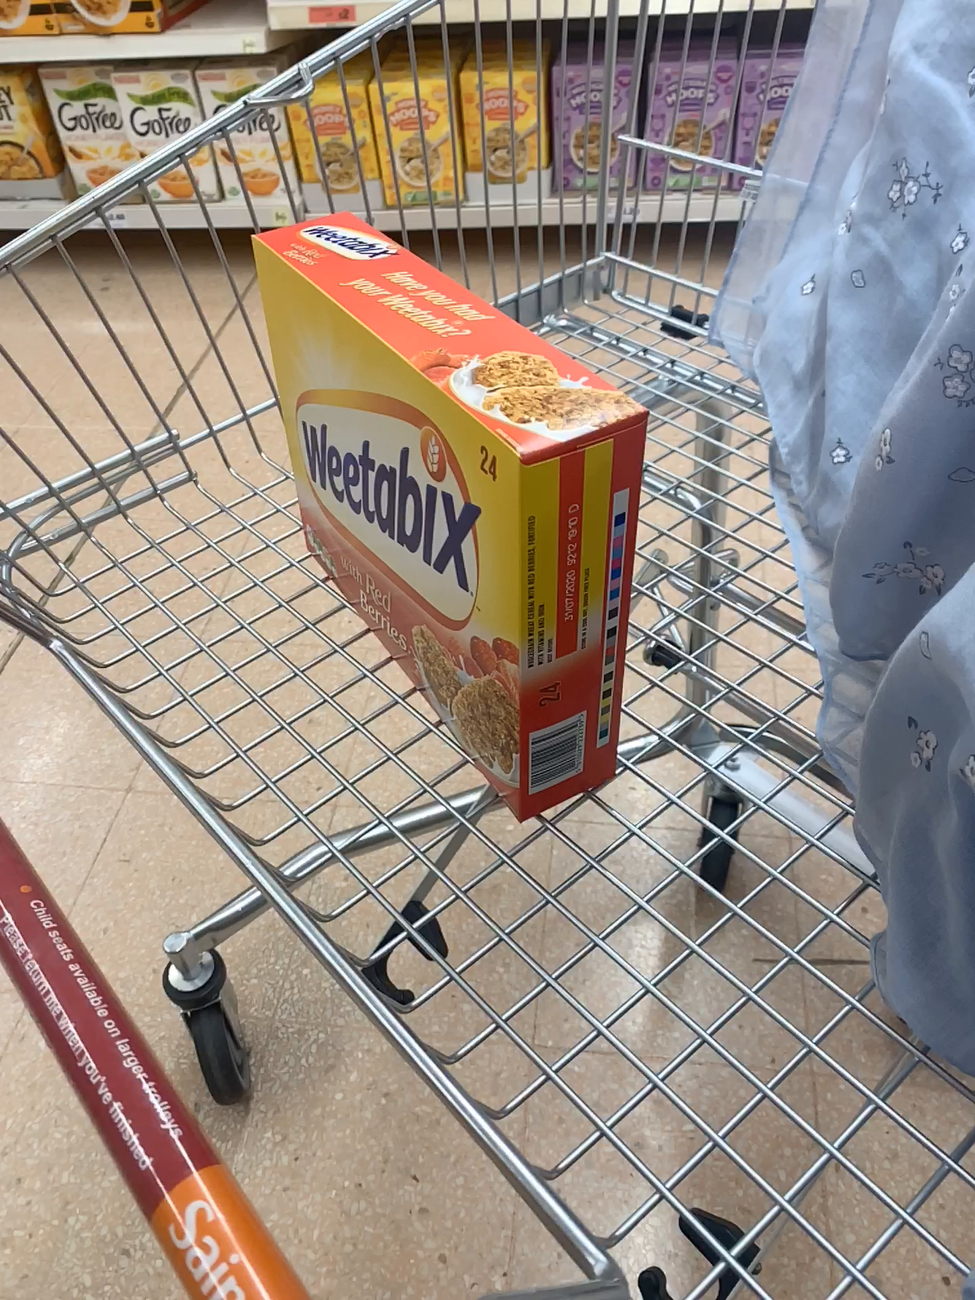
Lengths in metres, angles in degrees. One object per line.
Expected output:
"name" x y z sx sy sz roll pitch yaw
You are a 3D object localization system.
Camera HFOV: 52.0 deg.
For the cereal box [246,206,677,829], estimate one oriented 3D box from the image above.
"cereal box" -0.025 -0.074 0.486 0.060 0.188 0.262 -23 47 -22
